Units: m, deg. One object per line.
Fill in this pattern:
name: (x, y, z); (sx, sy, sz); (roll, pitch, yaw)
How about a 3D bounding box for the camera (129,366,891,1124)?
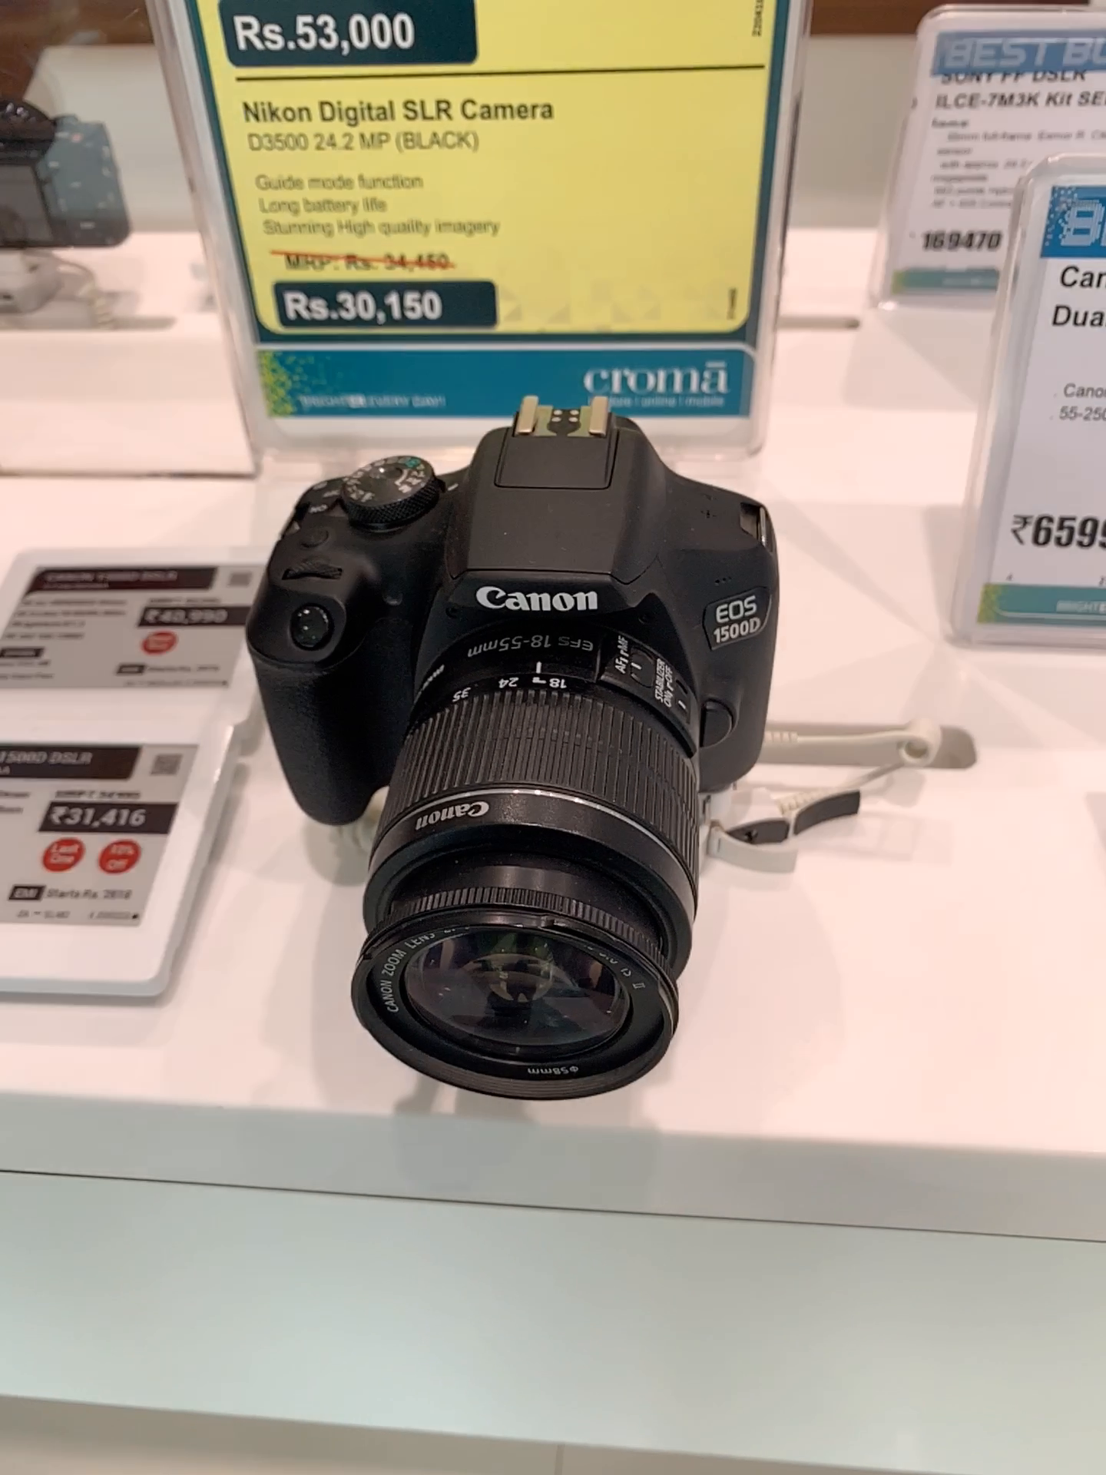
camera: (0.000, -0.006, 0.242); (0.110, 0.090, 0.130); (3, 43, 5)
